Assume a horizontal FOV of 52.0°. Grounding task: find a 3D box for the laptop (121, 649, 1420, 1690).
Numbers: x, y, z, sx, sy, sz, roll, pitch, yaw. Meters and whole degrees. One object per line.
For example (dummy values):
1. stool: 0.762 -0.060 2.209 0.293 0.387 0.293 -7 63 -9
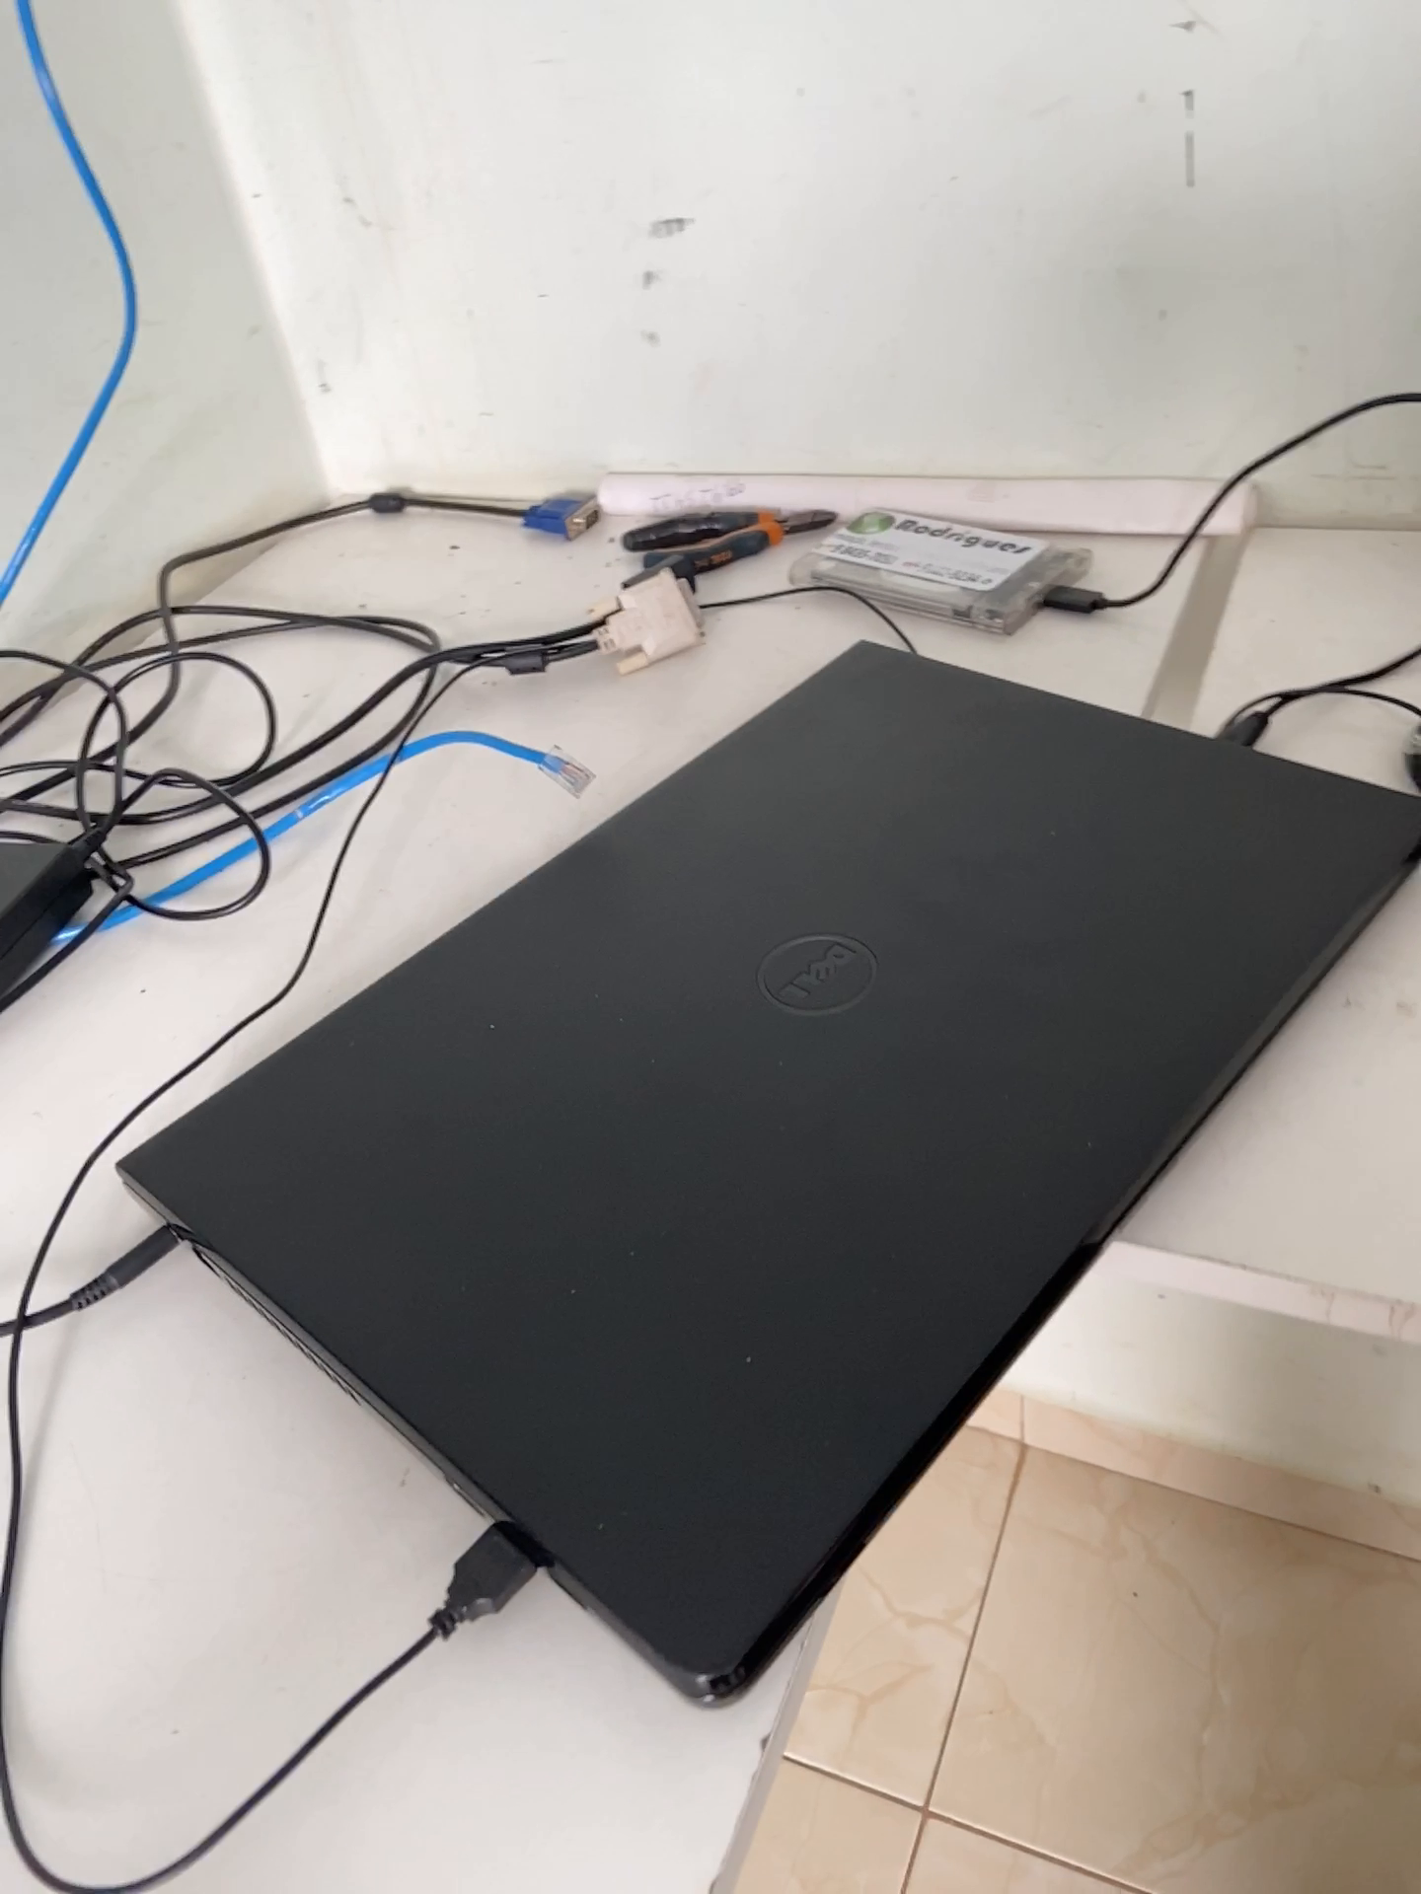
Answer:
1. laptop: 0.031 0.010 0.483 0.260 0.003 0.377 24 49 37
